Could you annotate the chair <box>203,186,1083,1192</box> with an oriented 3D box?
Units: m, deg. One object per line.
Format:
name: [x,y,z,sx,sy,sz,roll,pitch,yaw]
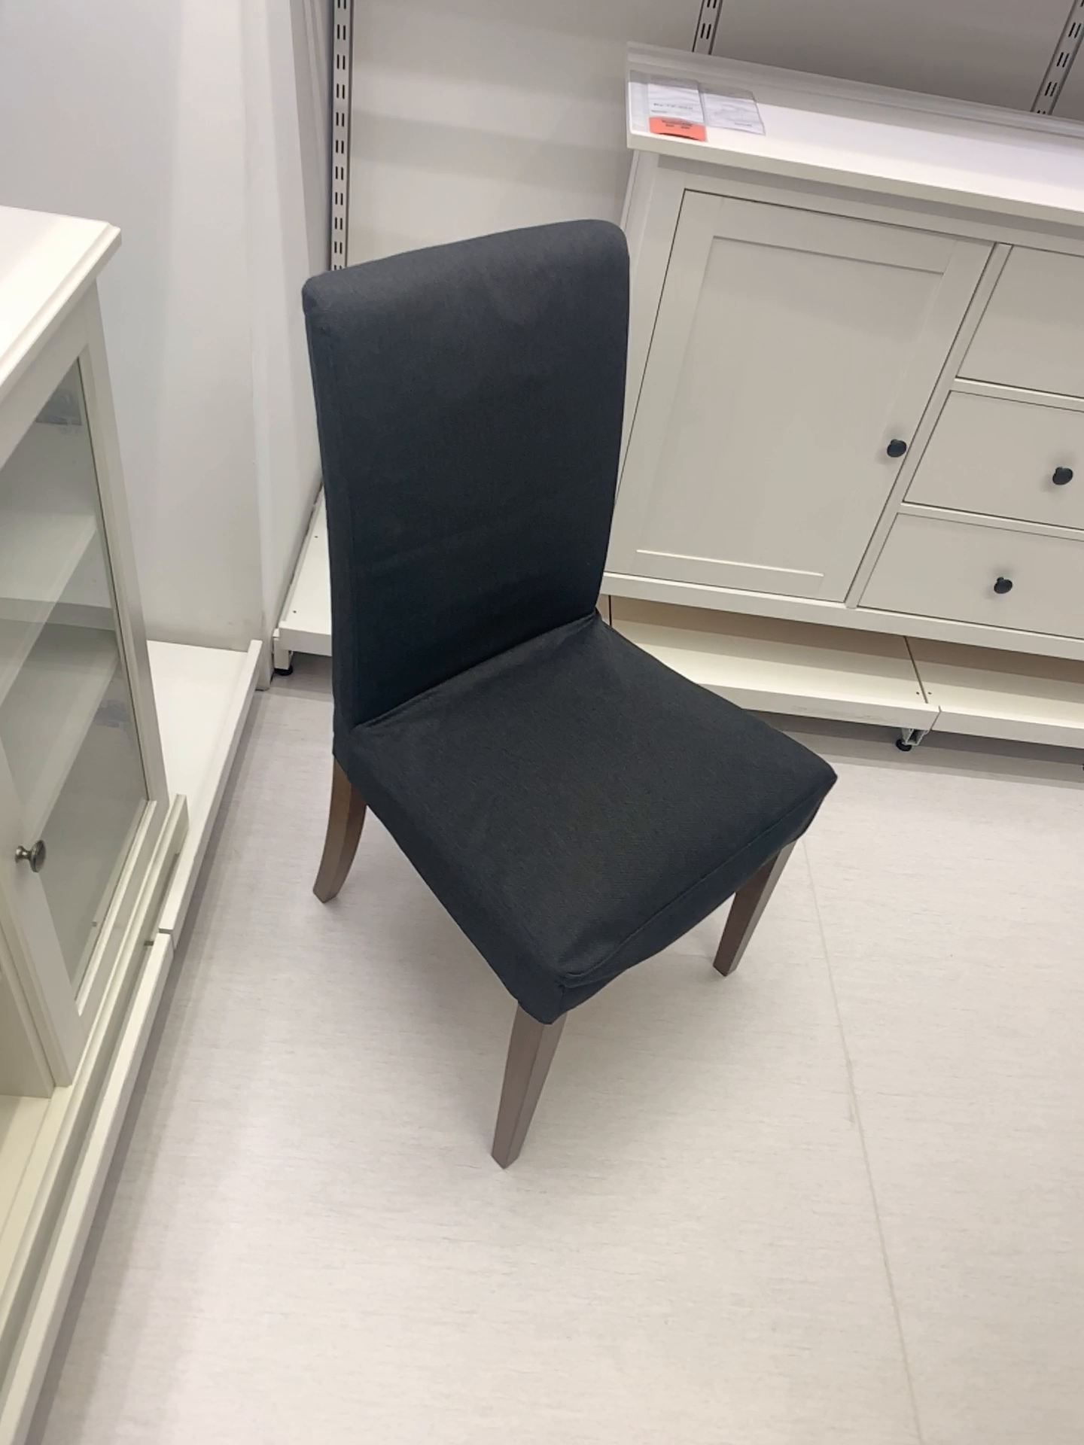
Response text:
chair: [0.043,-0.041,1.277,0.541,0.837,0.611,-29,57,-34]
